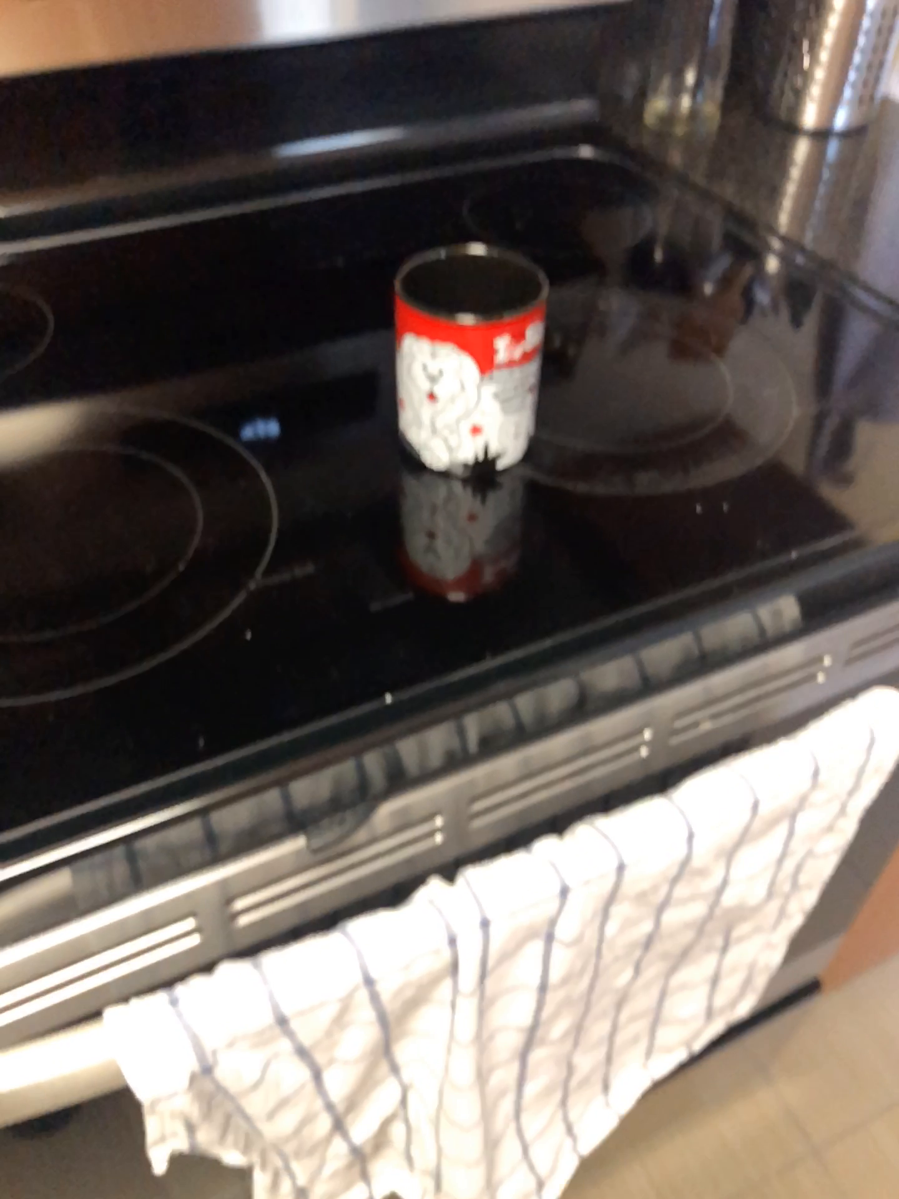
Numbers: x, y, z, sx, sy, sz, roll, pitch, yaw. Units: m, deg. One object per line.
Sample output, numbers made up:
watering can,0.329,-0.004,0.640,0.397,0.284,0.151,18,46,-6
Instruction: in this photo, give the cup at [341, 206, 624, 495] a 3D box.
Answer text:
cup,0.019,-0.142,0.563,0.090,0.090,0.130,28,49,25
